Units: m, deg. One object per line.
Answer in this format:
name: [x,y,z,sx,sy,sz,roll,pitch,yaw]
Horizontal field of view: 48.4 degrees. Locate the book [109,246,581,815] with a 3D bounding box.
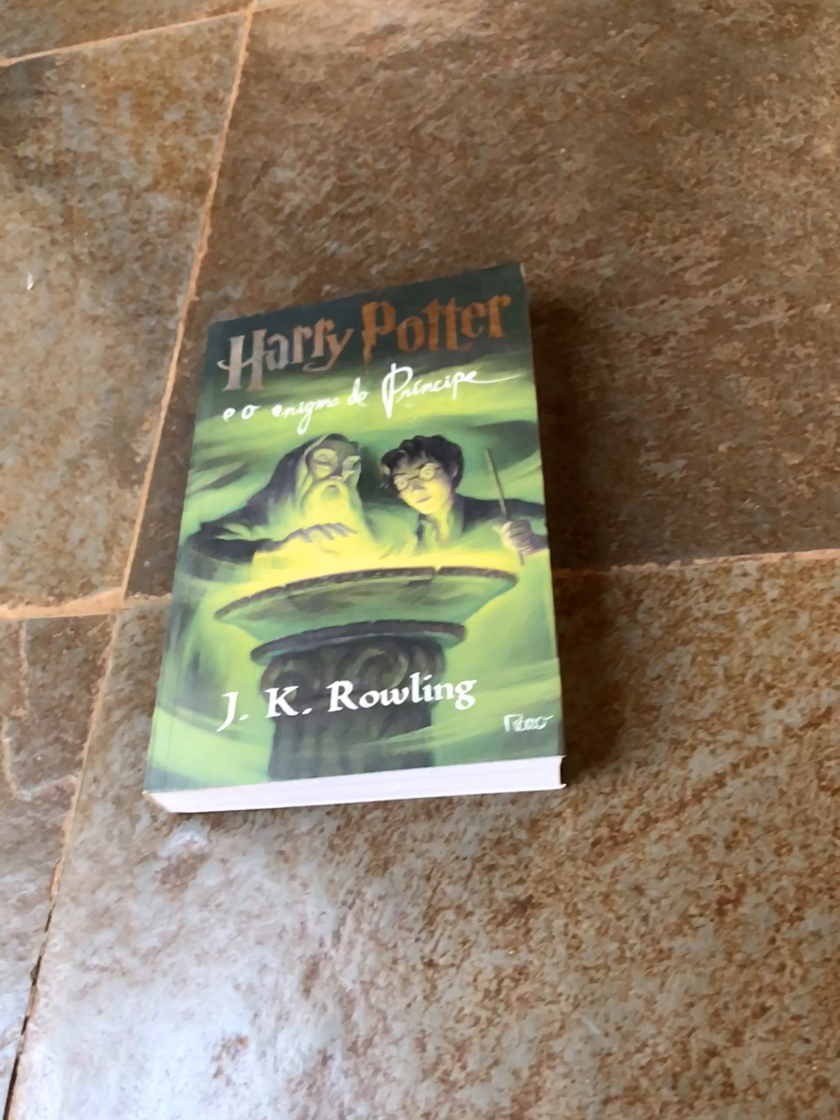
book: [-0.023,-0.017,0.335,0.142,0.030,0.201,-6,61,11]
